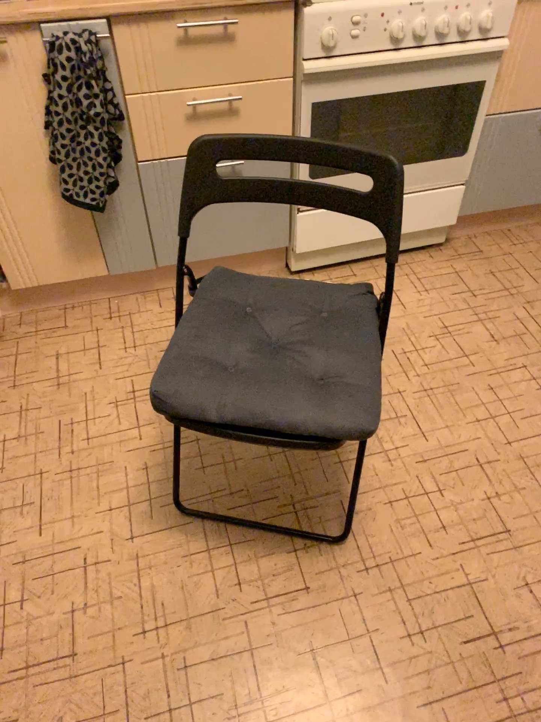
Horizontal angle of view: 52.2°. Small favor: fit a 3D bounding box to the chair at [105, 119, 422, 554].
[{"bbox_3d":[0.027,-0.018,1.199,0.440,0.776,0.482,8,47,7],"label":"chair"}]
